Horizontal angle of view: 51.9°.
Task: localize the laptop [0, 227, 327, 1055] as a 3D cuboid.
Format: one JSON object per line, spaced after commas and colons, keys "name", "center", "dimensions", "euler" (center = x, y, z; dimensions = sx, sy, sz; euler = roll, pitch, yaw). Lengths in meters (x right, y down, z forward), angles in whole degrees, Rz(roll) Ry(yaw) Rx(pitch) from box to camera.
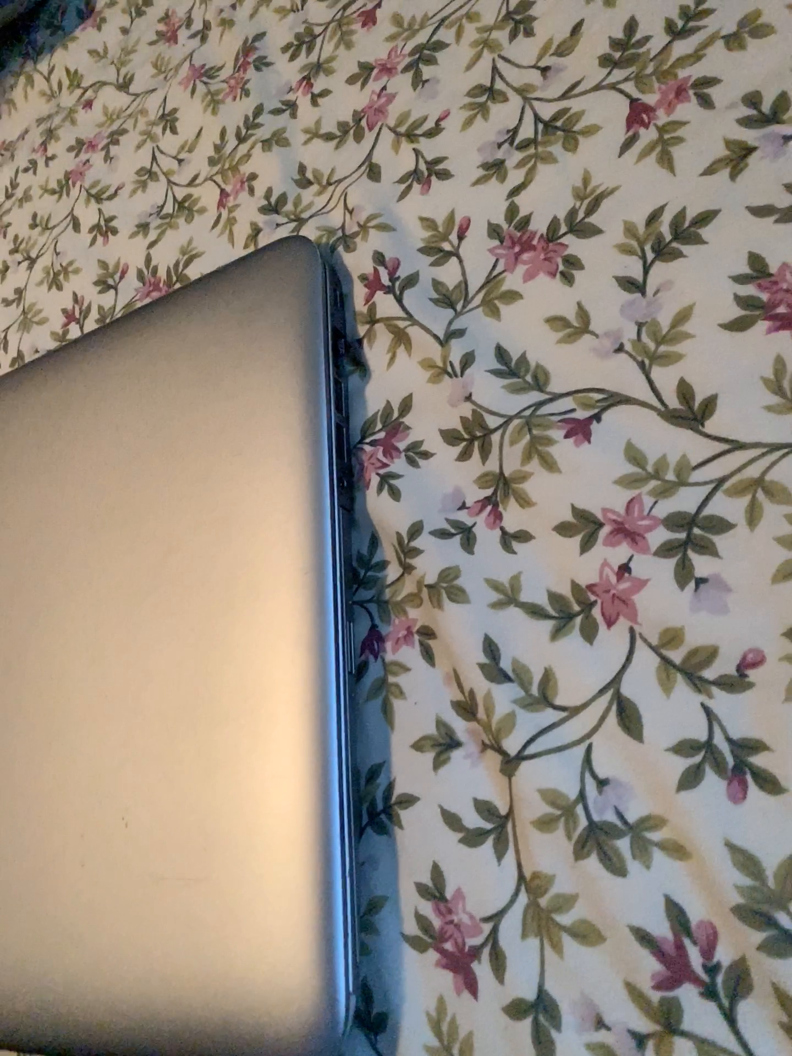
{"name": "laptop", "center": [-0.168, 0.050, 0.300], "dimensions": [0.337, 0.010, 0.229], "euler": [-15, 66, 28]}
